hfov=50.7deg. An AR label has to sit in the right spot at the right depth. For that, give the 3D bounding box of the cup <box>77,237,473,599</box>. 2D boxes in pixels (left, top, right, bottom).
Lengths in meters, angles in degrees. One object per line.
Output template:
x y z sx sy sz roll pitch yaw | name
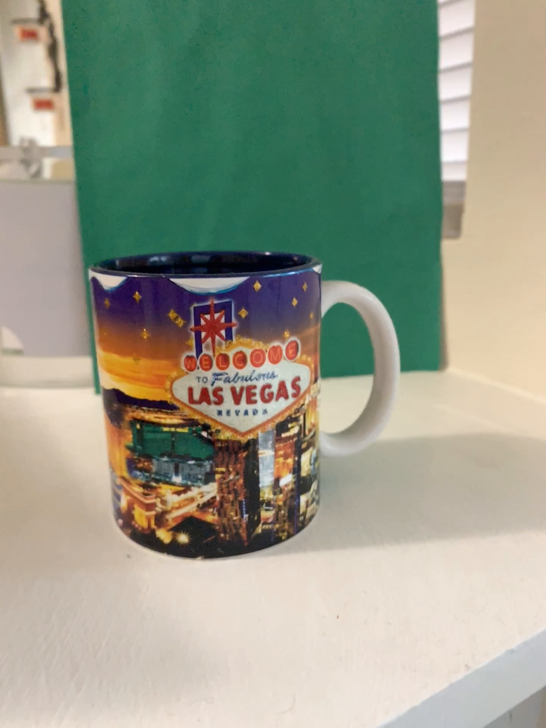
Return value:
-0.005 0.008 0.218 0.120 0.100 0.080 -6 17 -16 | cup
